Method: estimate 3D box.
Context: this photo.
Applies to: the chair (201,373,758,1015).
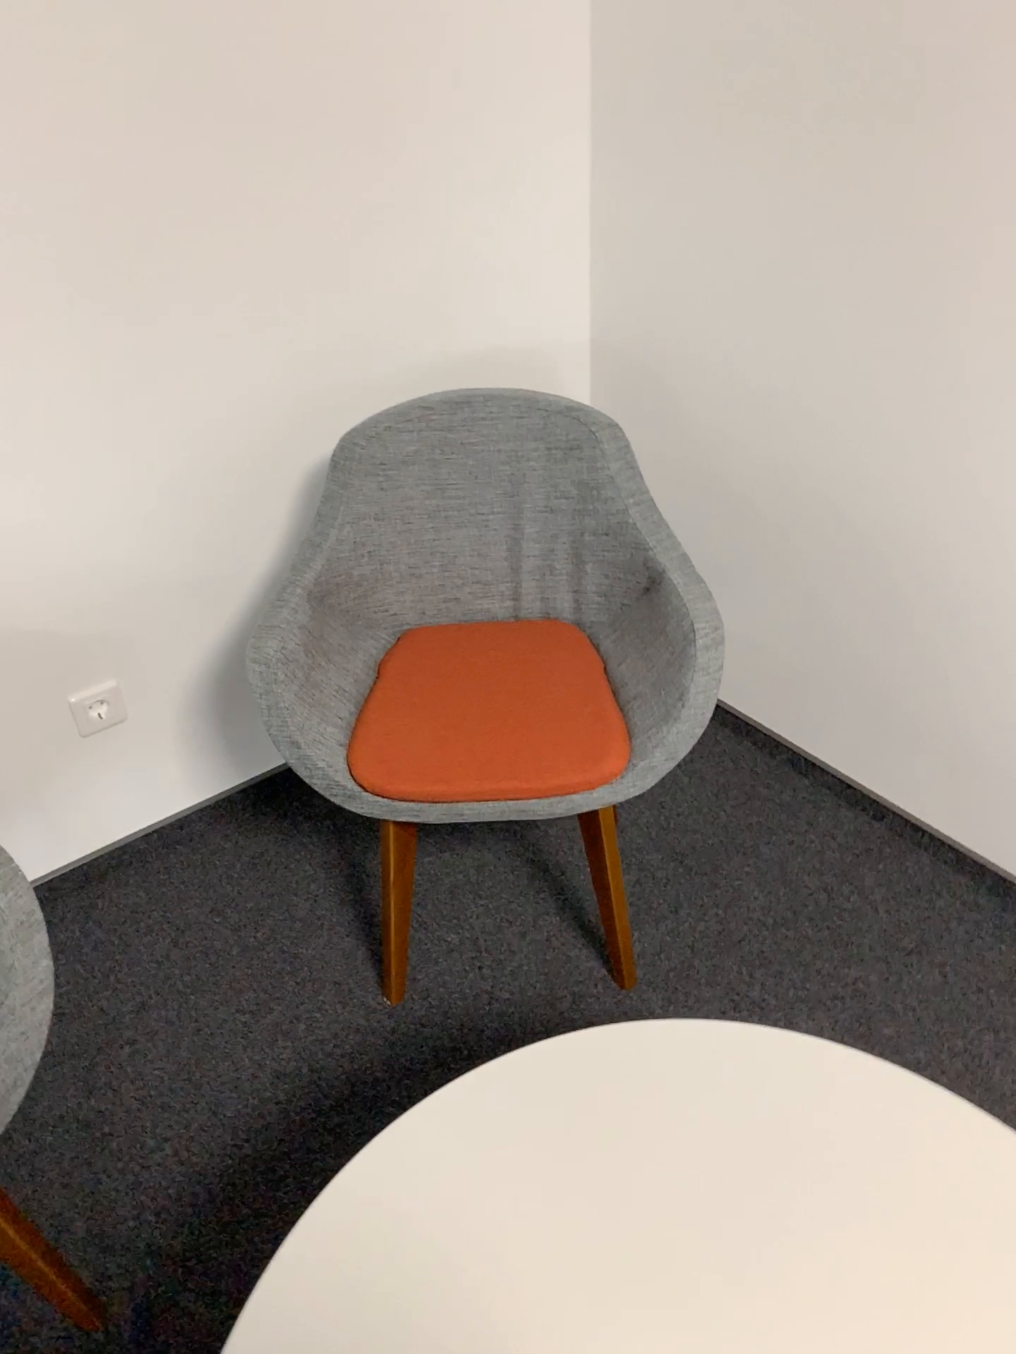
[{"bbox_3d":[-0.019,0.036,1.613,0.630,0.835,0.503,-2,34,1],"label":"chair"}]
